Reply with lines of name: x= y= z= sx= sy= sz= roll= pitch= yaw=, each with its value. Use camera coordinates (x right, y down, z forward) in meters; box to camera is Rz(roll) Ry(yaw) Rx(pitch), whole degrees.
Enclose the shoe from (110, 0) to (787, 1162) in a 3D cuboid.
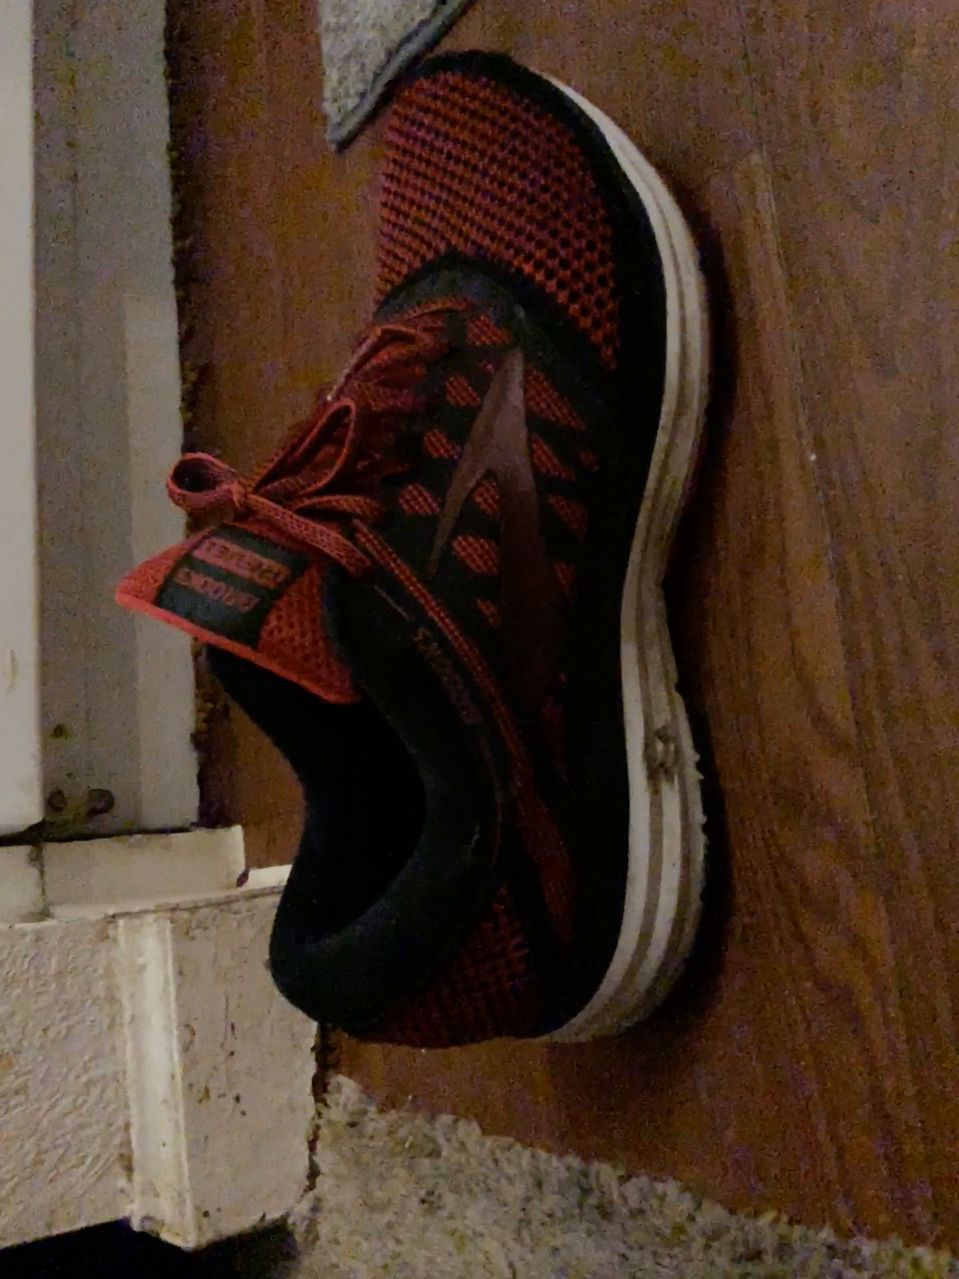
shoe: x=-0.017 y=-0.037 z=0.318 sx=0.130 sy=0.140 sz=0.300 roll=-12 pitch=78 yaw=53
